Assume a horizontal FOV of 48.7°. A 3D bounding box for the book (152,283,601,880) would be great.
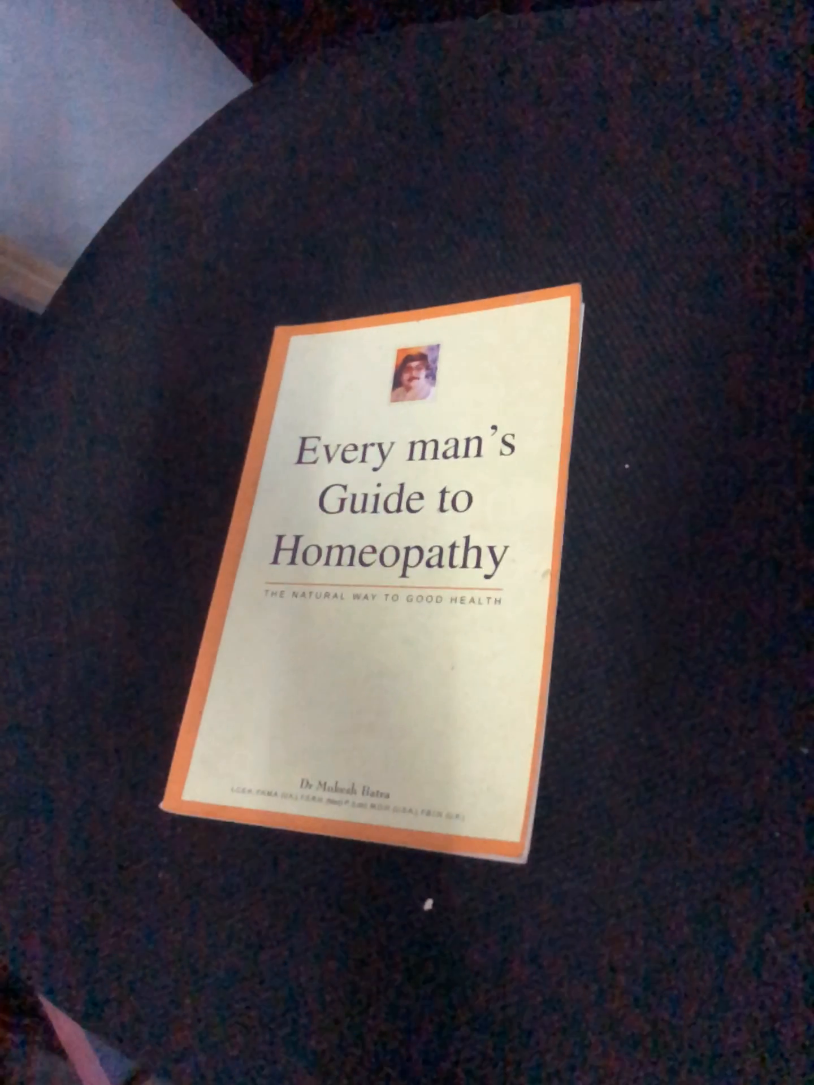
[{"bbox_3d":[-0.008,0.006,0.339,0.140,0.026,0.207,0,69,26],"label":"book"}]
